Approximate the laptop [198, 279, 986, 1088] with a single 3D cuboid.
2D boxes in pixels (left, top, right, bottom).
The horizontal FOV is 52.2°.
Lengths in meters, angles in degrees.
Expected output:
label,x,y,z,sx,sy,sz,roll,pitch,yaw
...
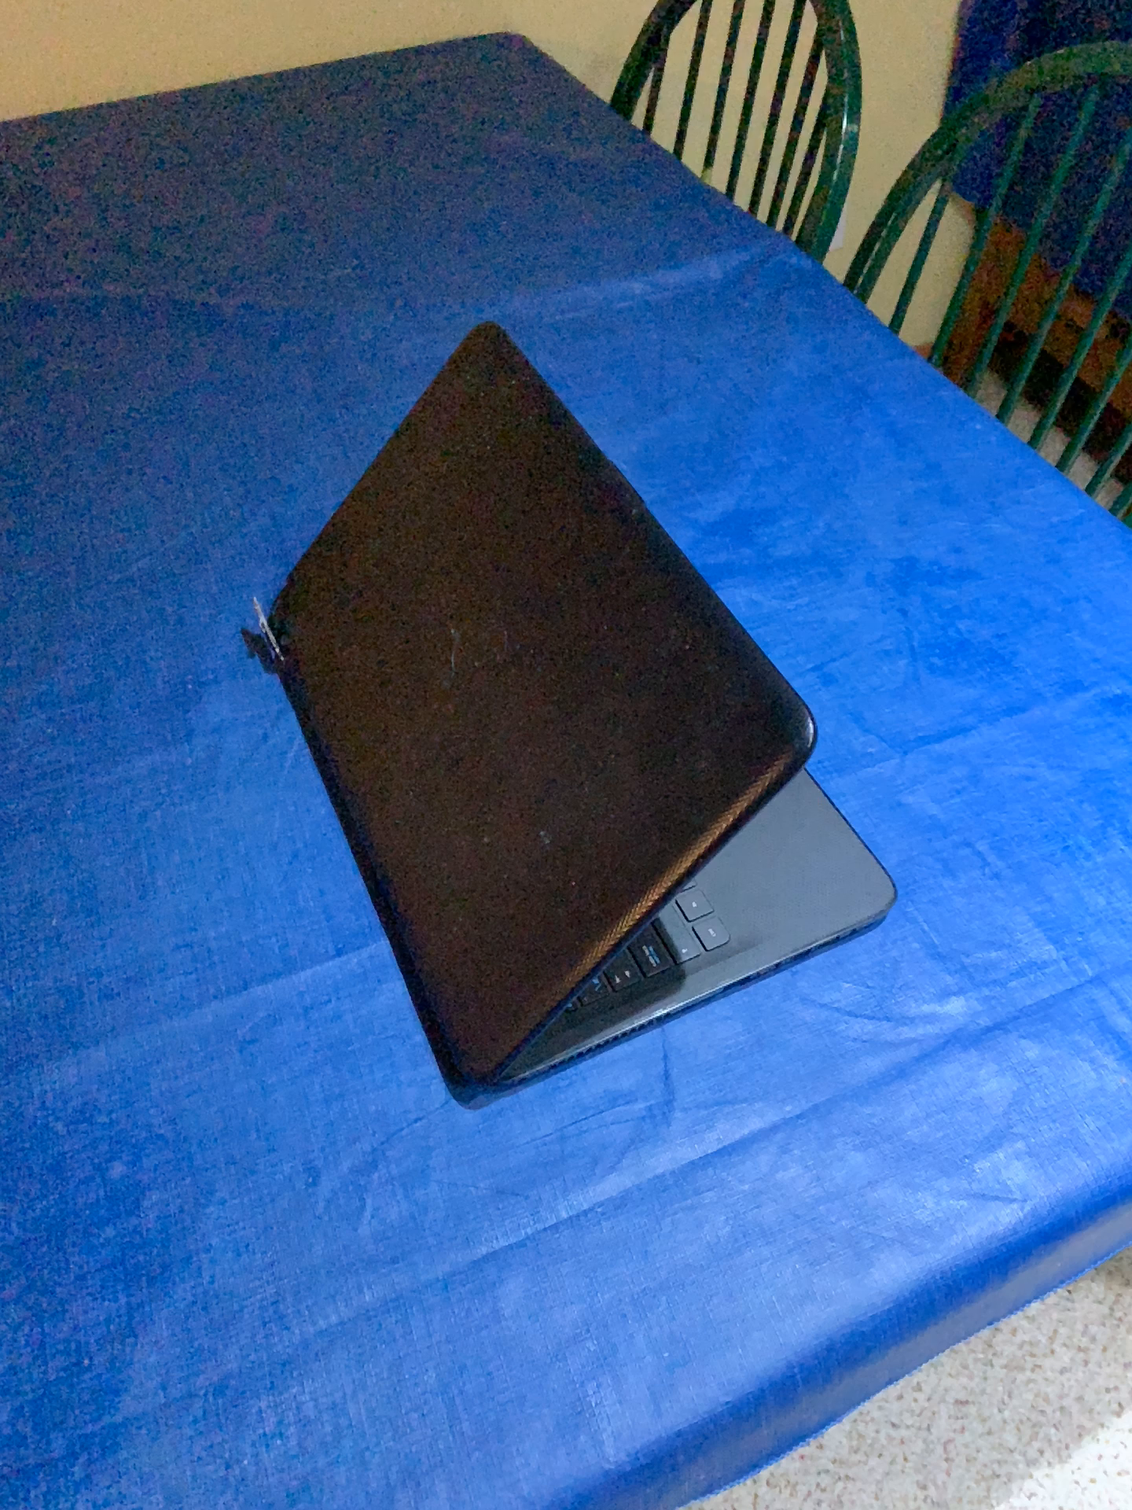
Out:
label,x,y,z,sx,sy,sz,roll,pitch,yaw
laptop,-0.011,-0.067,0.628,0.252,0.167,0.372,-20,52,-16
